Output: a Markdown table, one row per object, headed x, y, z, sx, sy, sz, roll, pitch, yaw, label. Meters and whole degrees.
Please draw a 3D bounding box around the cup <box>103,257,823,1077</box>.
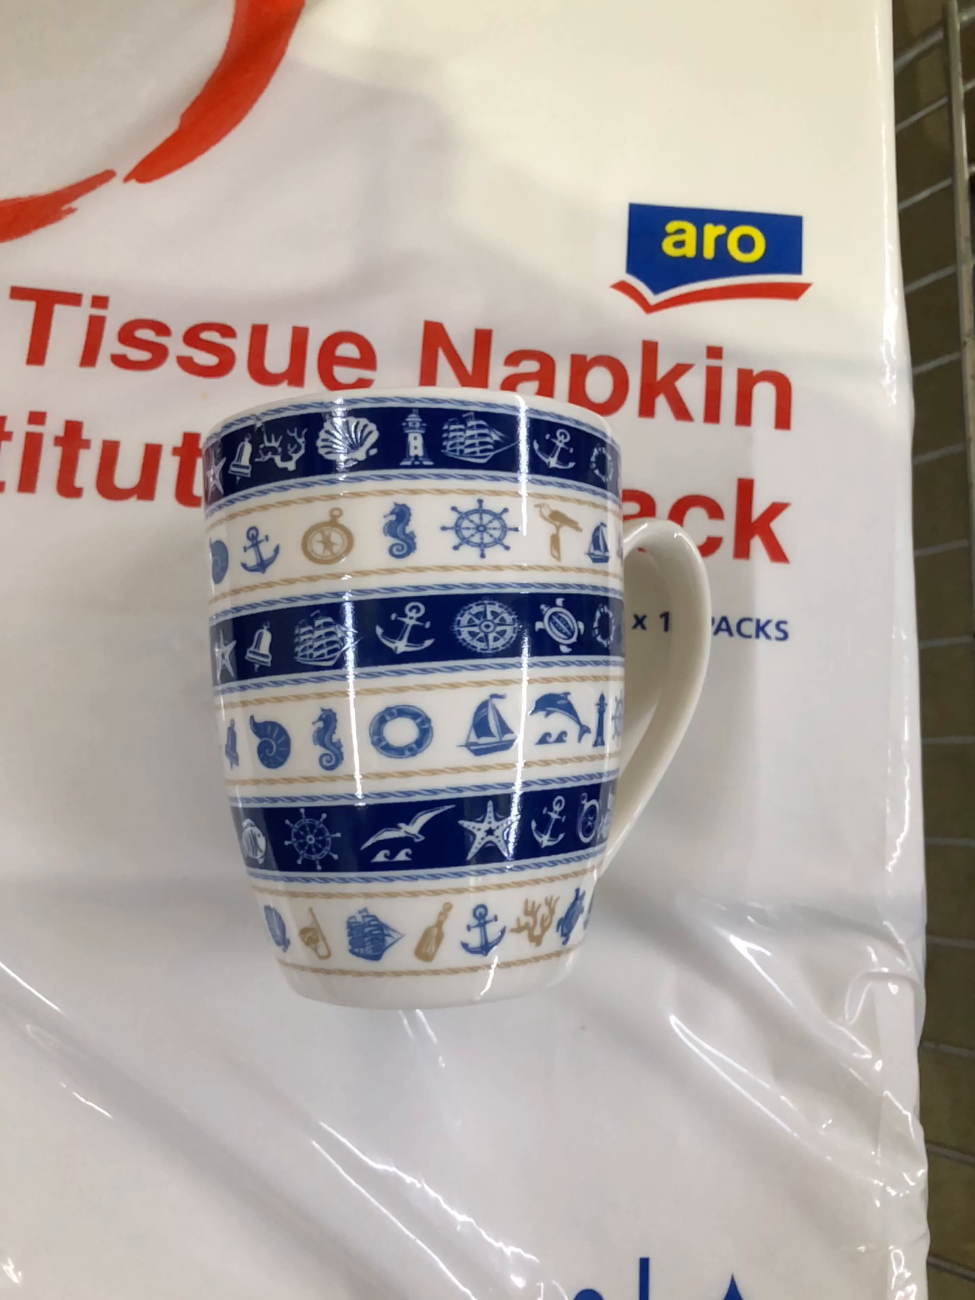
| x | y | z | sx | sy | sz | roll | pitch | yaw | label |
| --- | --- | --- | --- | --- | --- | --- | --- | --- | --- |
| 0.000 | 0.005 | 0.218 | 0.120 | 0.080 | 0.110 | 7 | 81 | -48 | cup |
